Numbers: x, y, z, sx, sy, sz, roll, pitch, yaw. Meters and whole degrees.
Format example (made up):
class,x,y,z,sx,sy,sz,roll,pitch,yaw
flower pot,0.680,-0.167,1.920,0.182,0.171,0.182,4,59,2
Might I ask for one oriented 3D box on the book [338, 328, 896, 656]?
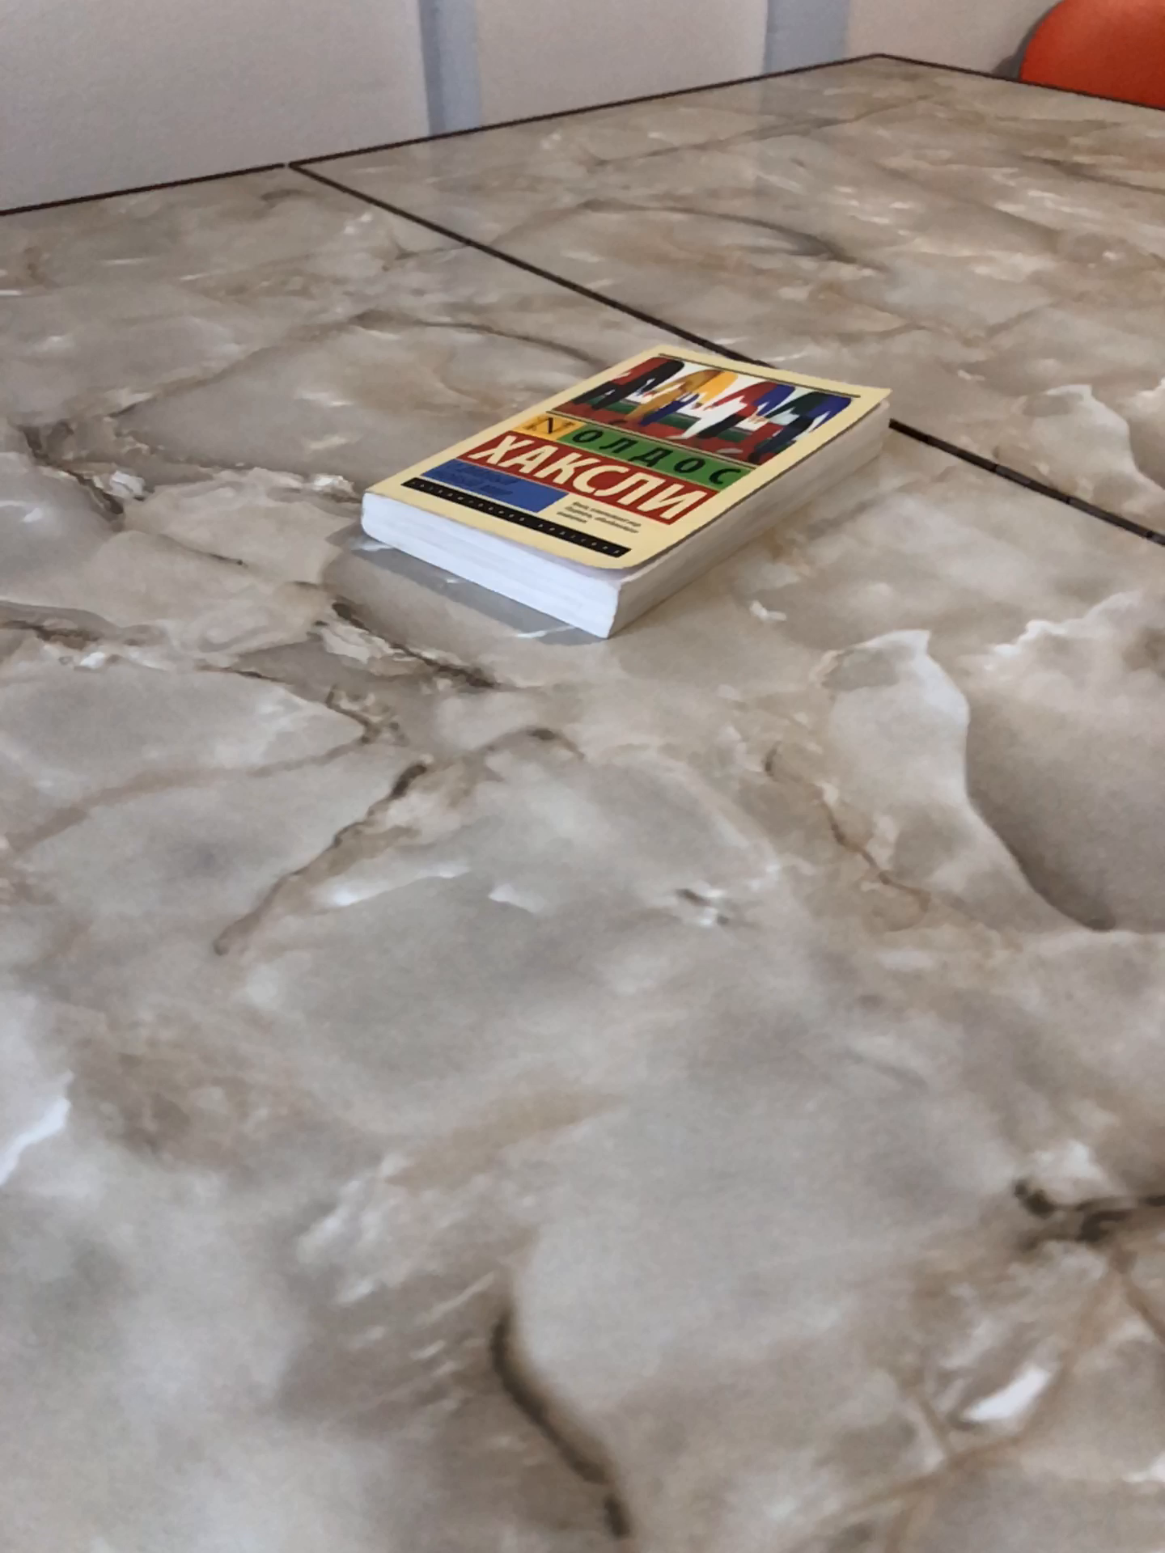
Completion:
class,x,y,z,sx,sy,sz,roll,pitch,yaw
book,0.018,-0.118,0.487,0.120,0.028,0.184,27,46,31
